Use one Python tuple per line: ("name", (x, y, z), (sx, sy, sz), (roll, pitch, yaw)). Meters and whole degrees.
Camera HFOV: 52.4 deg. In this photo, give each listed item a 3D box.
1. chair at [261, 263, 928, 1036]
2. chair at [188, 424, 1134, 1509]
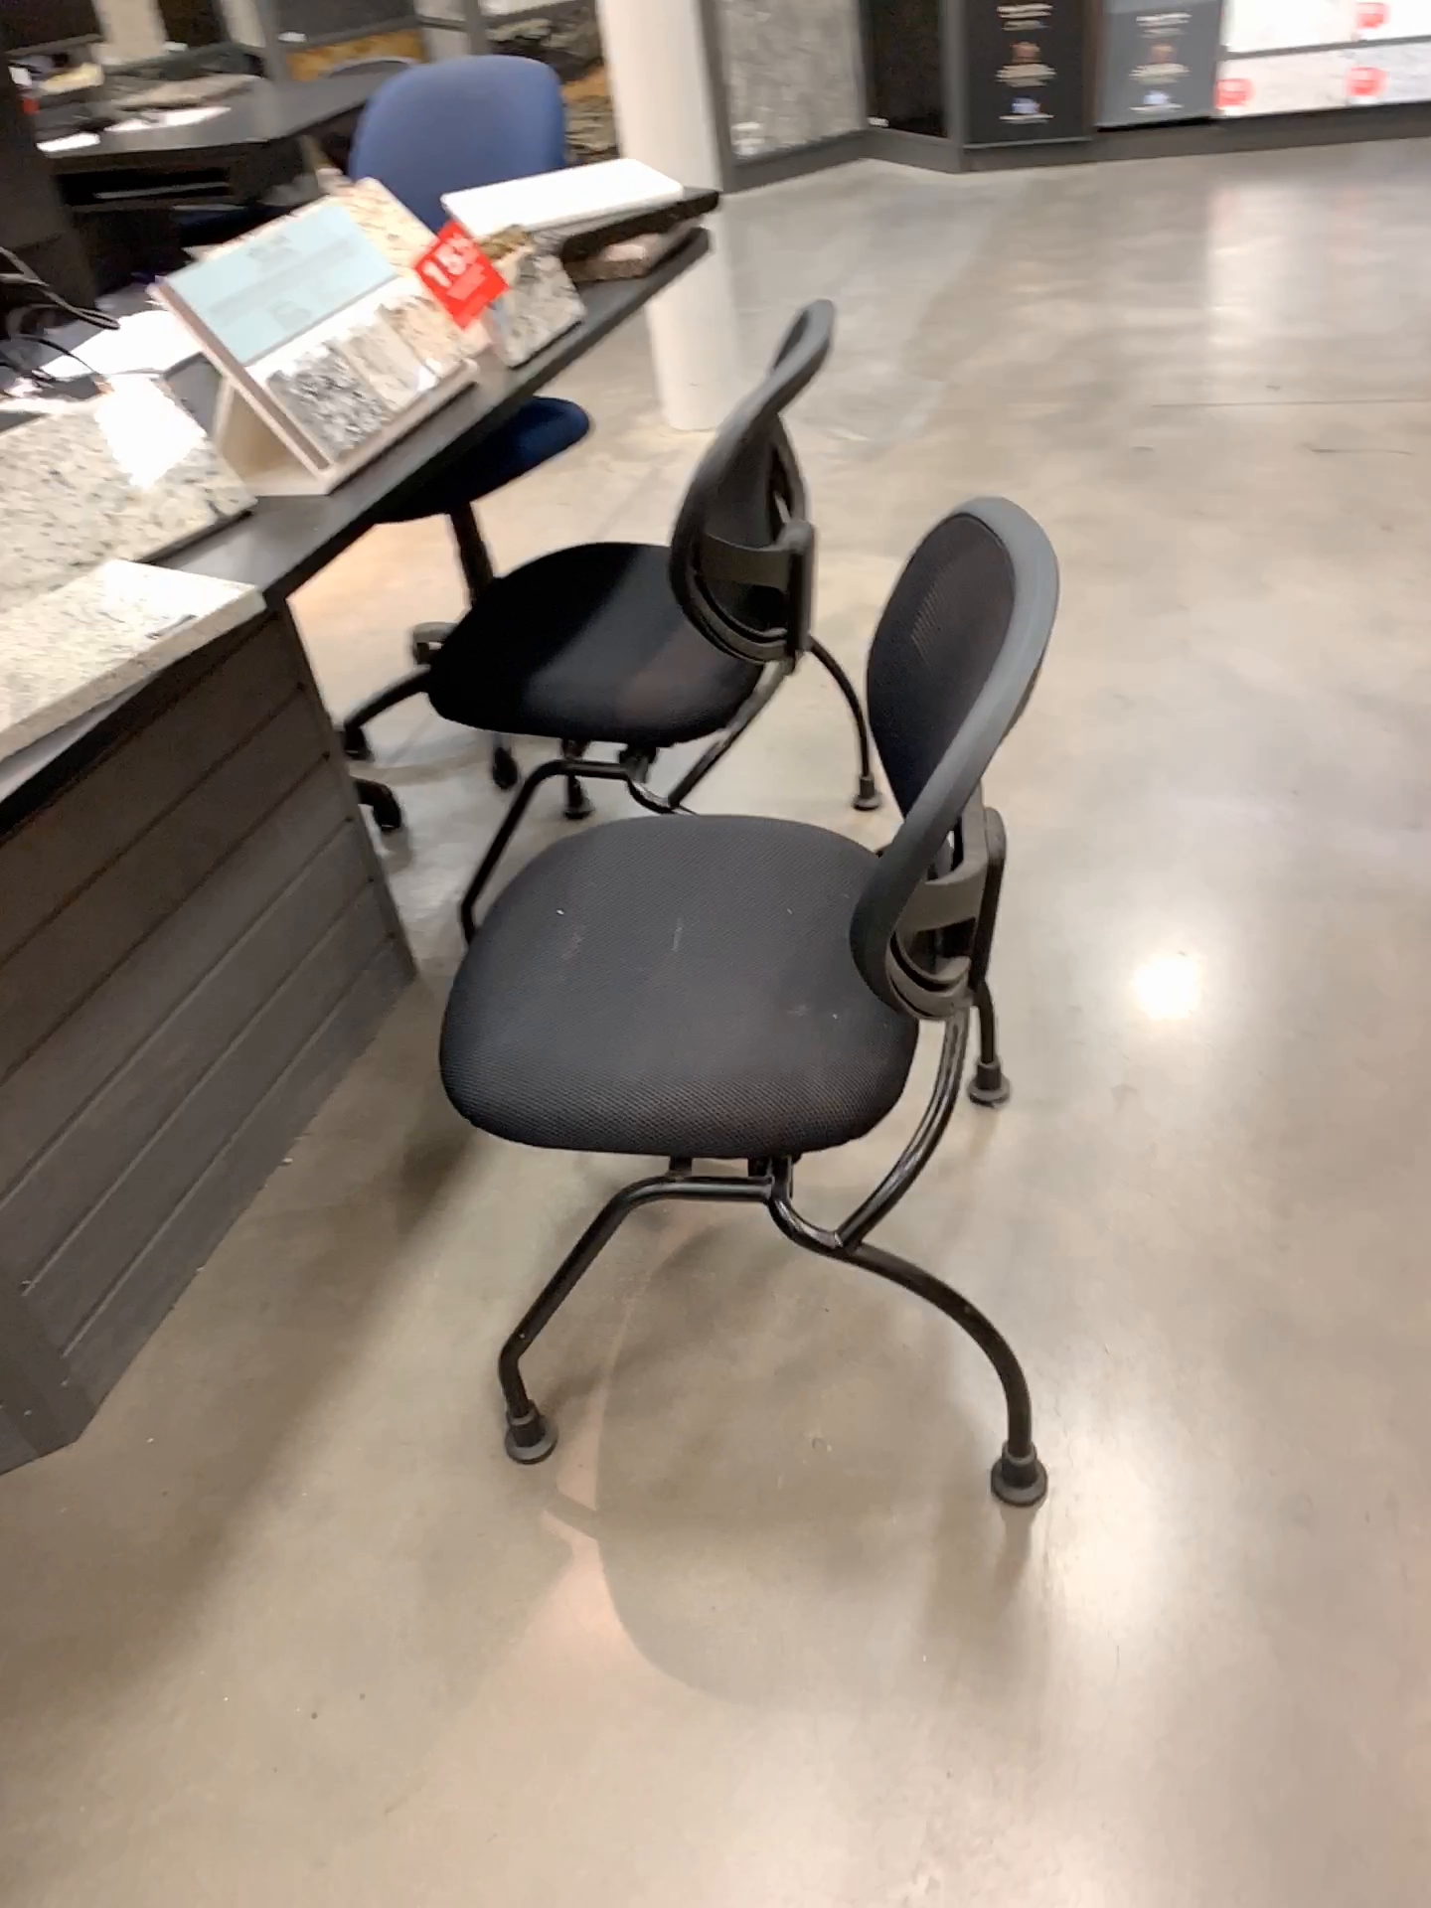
("chair", (-0.080, -0.408, 1.950), (0.585, 0.777, 0.597), (5, 40, 19))
("chair", (0.030, 0.027, 1.368), (0.594, 0.777, 0.607), (-3, 38, 9))
